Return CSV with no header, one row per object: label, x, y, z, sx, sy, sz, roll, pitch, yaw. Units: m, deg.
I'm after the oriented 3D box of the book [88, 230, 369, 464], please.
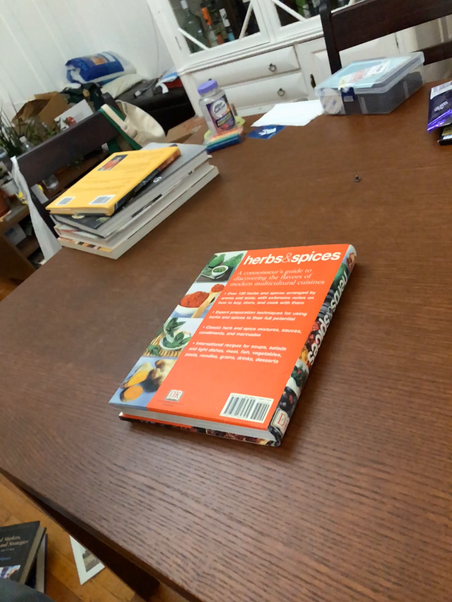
book,0.012,0.026,0.538,0.210,0.040,0.271,0,42,35
